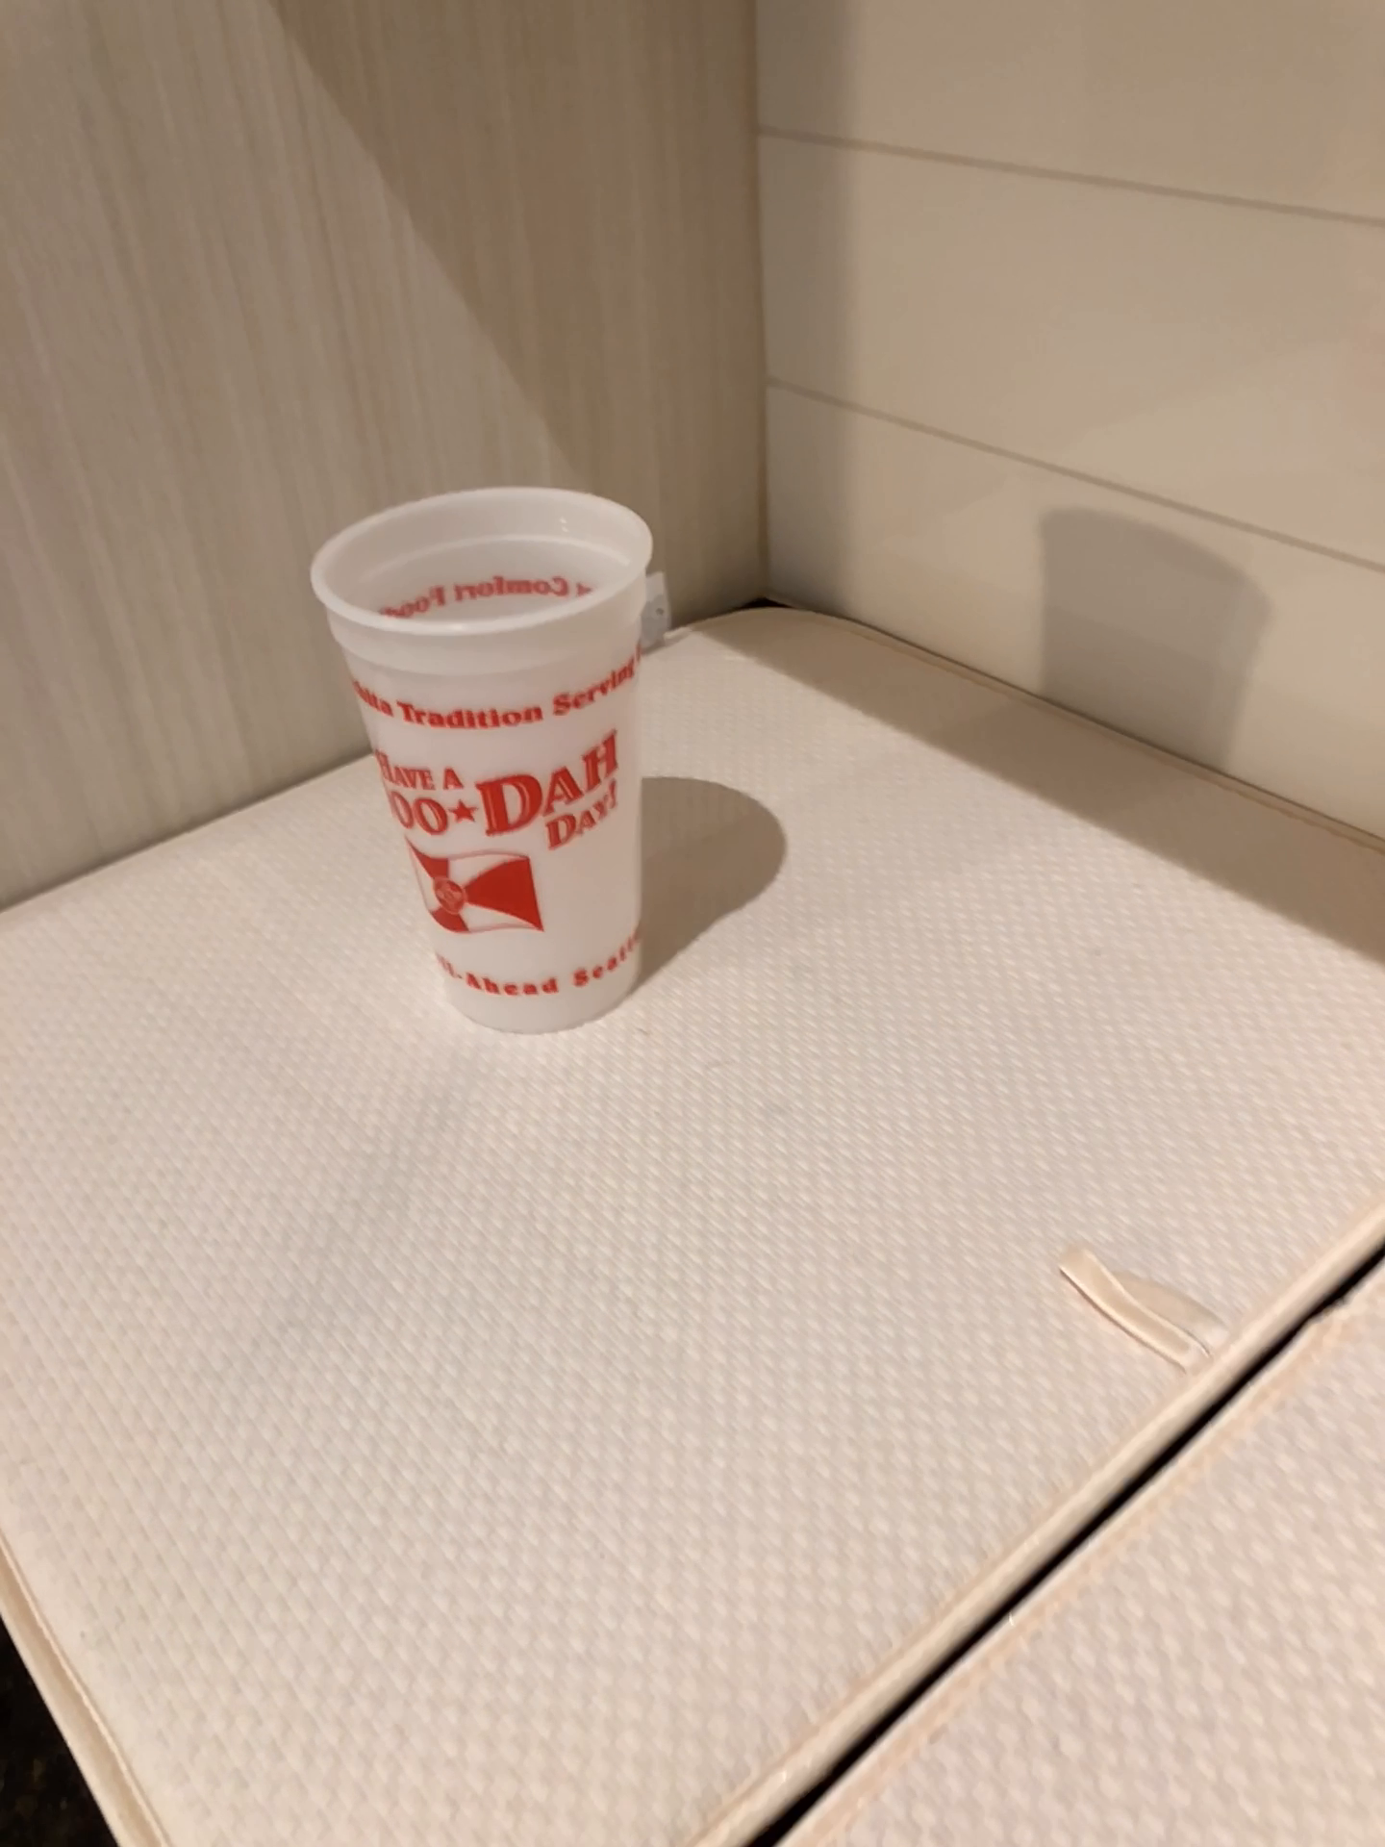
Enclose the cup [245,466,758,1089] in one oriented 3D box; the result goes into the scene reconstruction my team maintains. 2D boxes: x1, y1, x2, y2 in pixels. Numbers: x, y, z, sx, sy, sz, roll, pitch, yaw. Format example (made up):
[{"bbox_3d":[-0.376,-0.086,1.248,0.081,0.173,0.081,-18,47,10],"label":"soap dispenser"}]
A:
[{"bbox_3d":[-0.046,-0.046,0.455,0.100,0.139,0.100,-3,37,2],"label":"cup"}]
